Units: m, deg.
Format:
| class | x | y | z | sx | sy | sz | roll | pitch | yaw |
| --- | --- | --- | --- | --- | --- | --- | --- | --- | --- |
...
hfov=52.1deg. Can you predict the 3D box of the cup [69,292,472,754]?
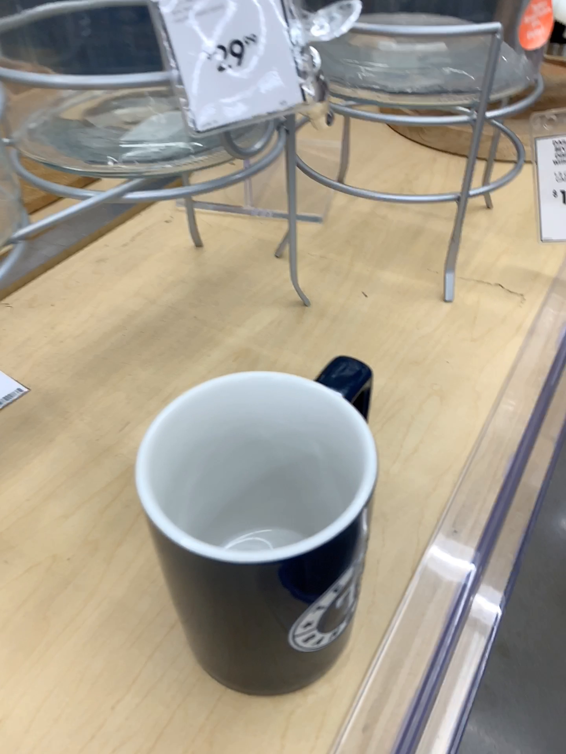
| class | x | y | z | sx | sy | sz | roll | pitch | yaw |
| --- | --- | --- | --- | --- | --- | --- | --- | --- | --- |
| cup | 0.003 | 0.058 | 0.252 | 0.097 | 0.121 | 0.124 | 22 | 49 | 22 |
